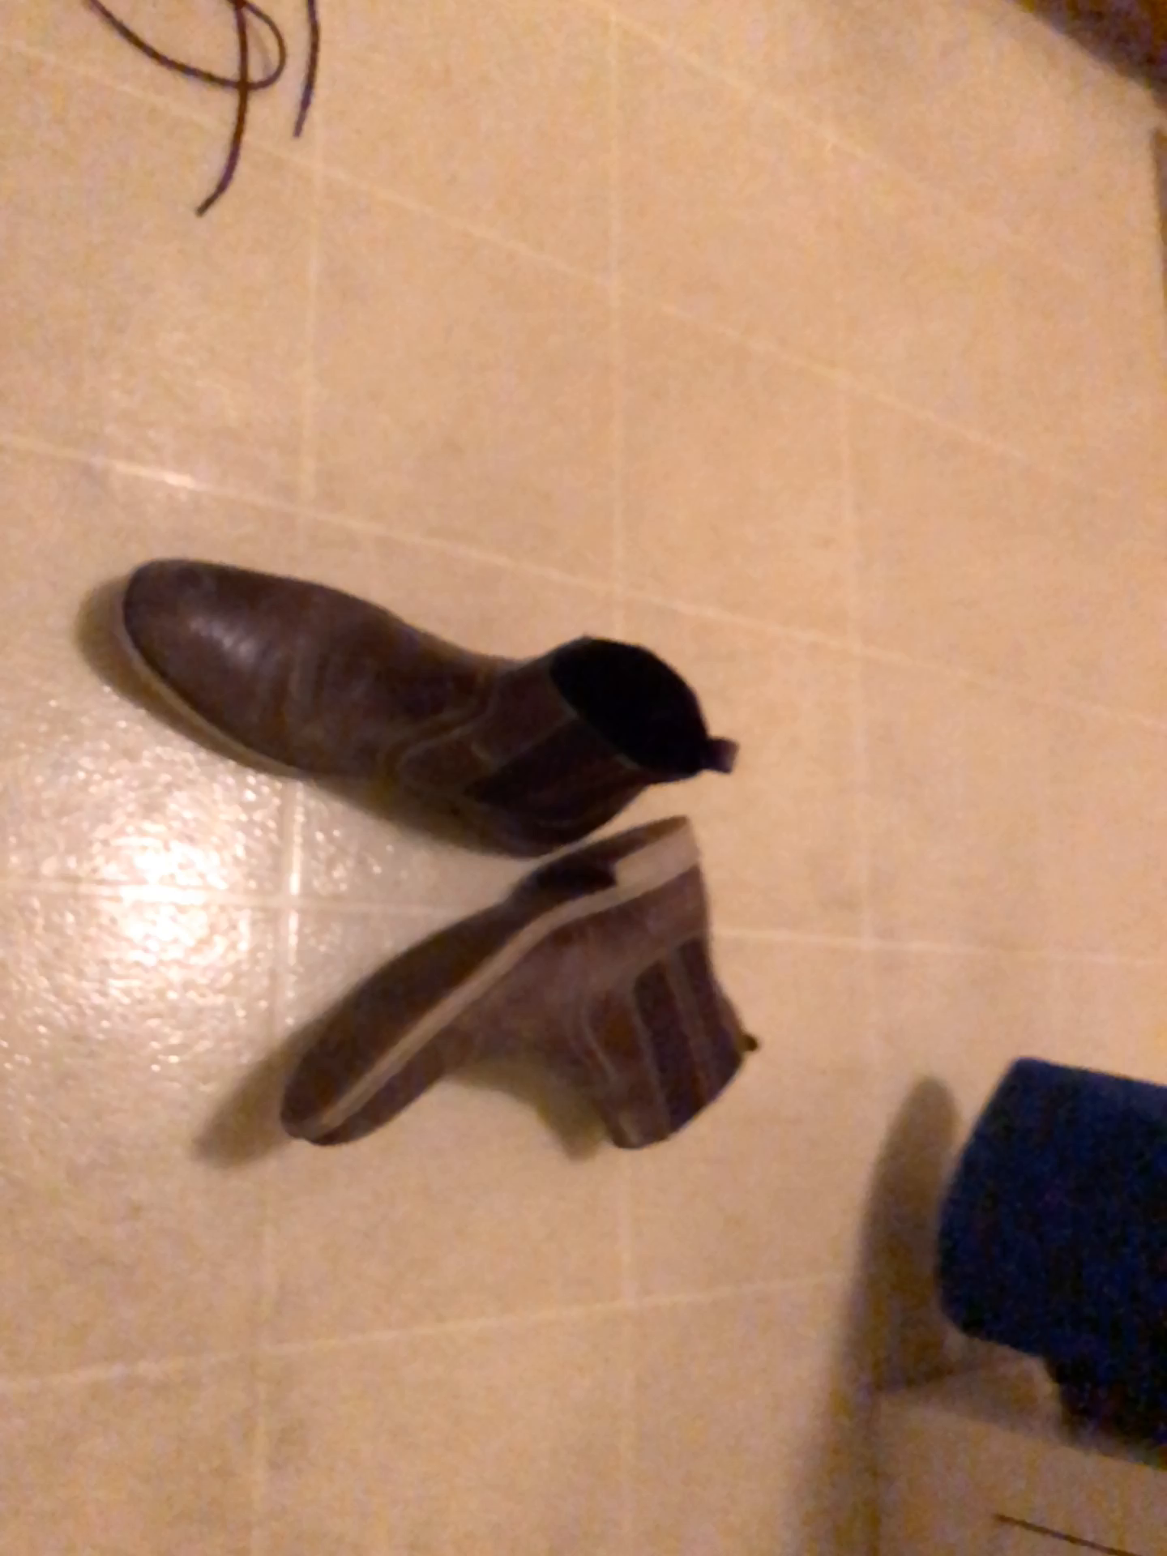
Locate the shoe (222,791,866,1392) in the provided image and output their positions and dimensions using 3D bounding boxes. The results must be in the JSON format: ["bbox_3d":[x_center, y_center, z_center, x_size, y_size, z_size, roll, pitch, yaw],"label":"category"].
[{"bbox_3d":[-0.007,0.151,0.716,0.314,0.111,0.161,-29,99,-36],"label":"shoe"}]

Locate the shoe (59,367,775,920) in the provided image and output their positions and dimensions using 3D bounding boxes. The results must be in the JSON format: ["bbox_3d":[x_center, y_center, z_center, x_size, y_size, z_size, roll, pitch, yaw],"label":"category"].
[{"bbox_3d":[-0.079,-0.046,0.676,0.314,0.161,0.111,30,64,-27],"label":"shoe"}]
